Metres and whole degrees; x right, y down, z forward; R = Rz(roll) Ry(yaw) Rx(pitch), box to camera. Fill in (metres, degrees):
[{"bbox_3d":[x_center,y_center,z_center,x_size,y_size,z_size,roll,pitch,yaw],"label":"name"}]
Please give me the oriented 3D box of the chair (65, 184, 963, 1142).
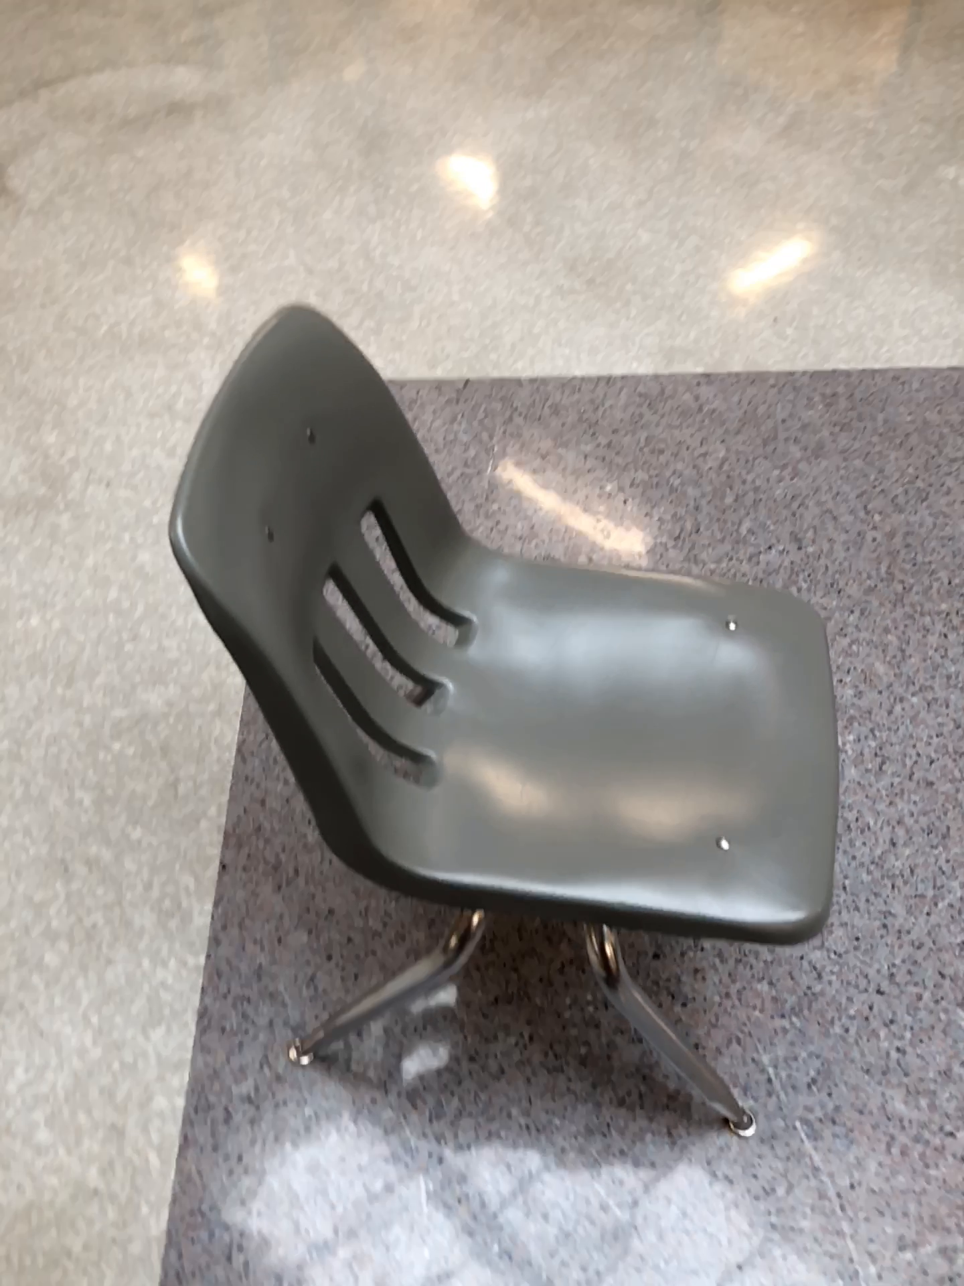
[{"bbox_3d":[0.090,0.053,0.961,0.550,0.666,0.513,8,53,7],"label":"chair"}]
